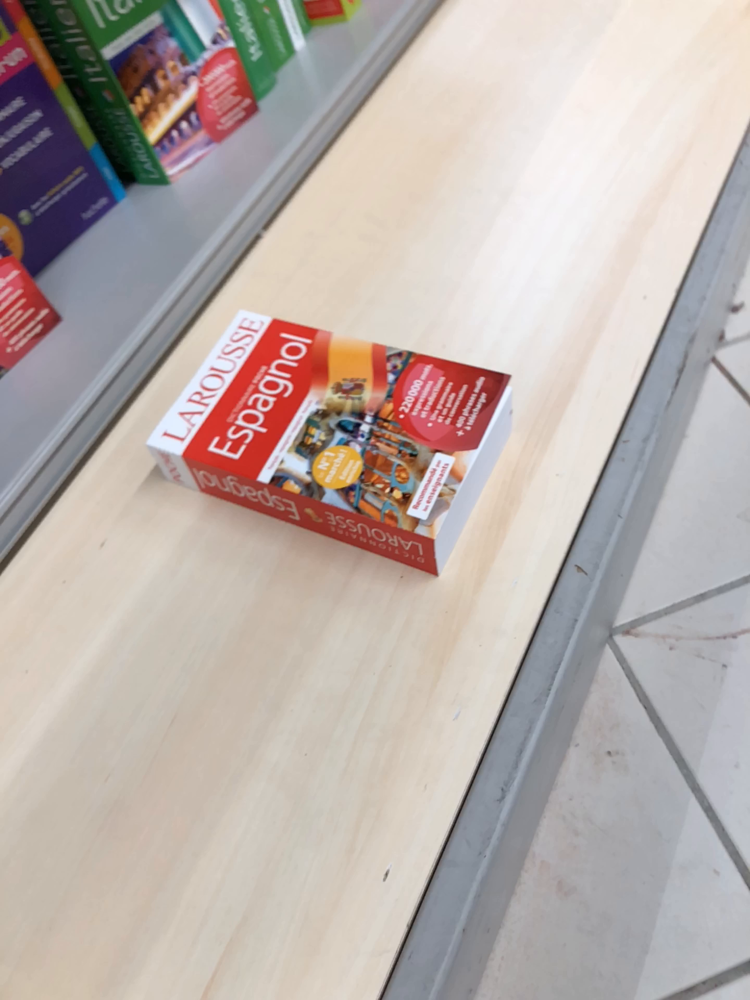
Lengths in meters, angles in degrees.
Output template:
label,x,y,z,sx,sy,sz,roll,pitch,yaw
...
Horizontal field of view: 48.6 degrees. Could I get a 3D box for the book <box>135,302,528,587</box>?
label,x,y,z,sx,sy,sz,roll,pitch,yaw
book,-0.021,-0.039,0.467,0.182,0.044,0.118,17,58,21
